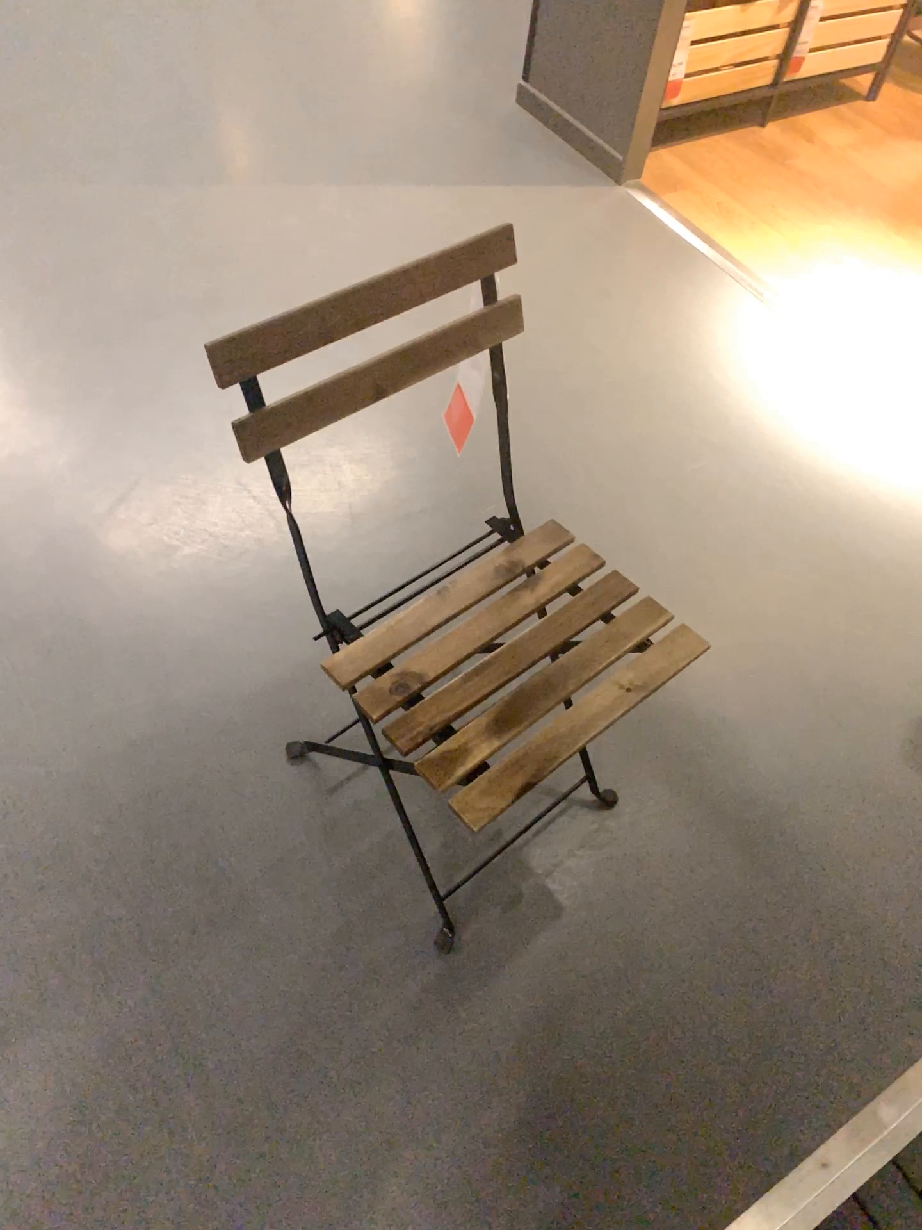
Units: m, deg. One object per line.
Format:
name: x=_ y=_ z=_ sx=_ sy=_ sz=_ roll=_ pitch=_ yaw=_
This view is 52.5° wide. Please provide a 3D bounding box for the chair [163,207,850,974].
chair: x=0.008 y=0.003 z=1.152 sx=0.421 sy=0.698 sz=0.501 roll=-32 pitch=63 yaw=-26
